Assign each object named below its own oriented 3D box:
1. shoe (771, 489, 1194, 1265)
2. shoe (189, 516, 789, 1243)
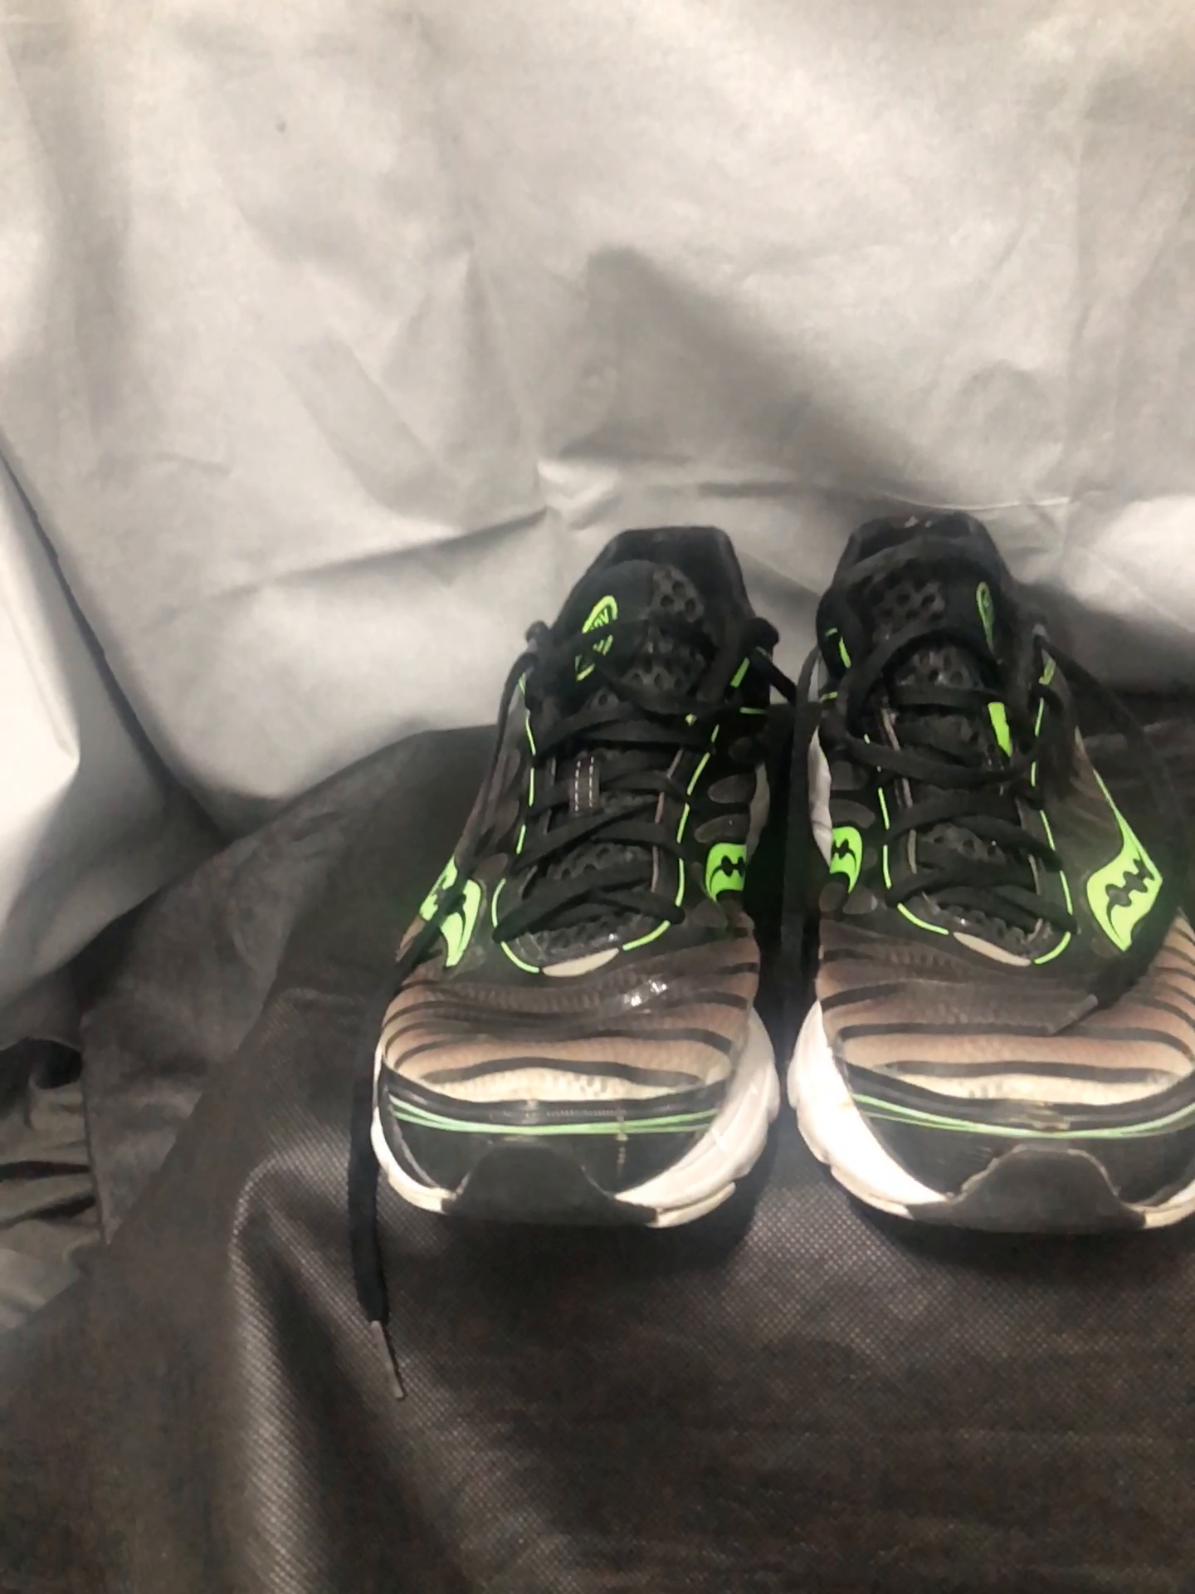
[{"bbox_3d":[0.109,0.000,0.357,0.114,0.097,0.225,-1,29,10],"label":"shoe"},{"bbox_3d":[-0.006,0.003,0.379,0.116,0.096,0.225,-1,29,10],"label":"shoe"}]
